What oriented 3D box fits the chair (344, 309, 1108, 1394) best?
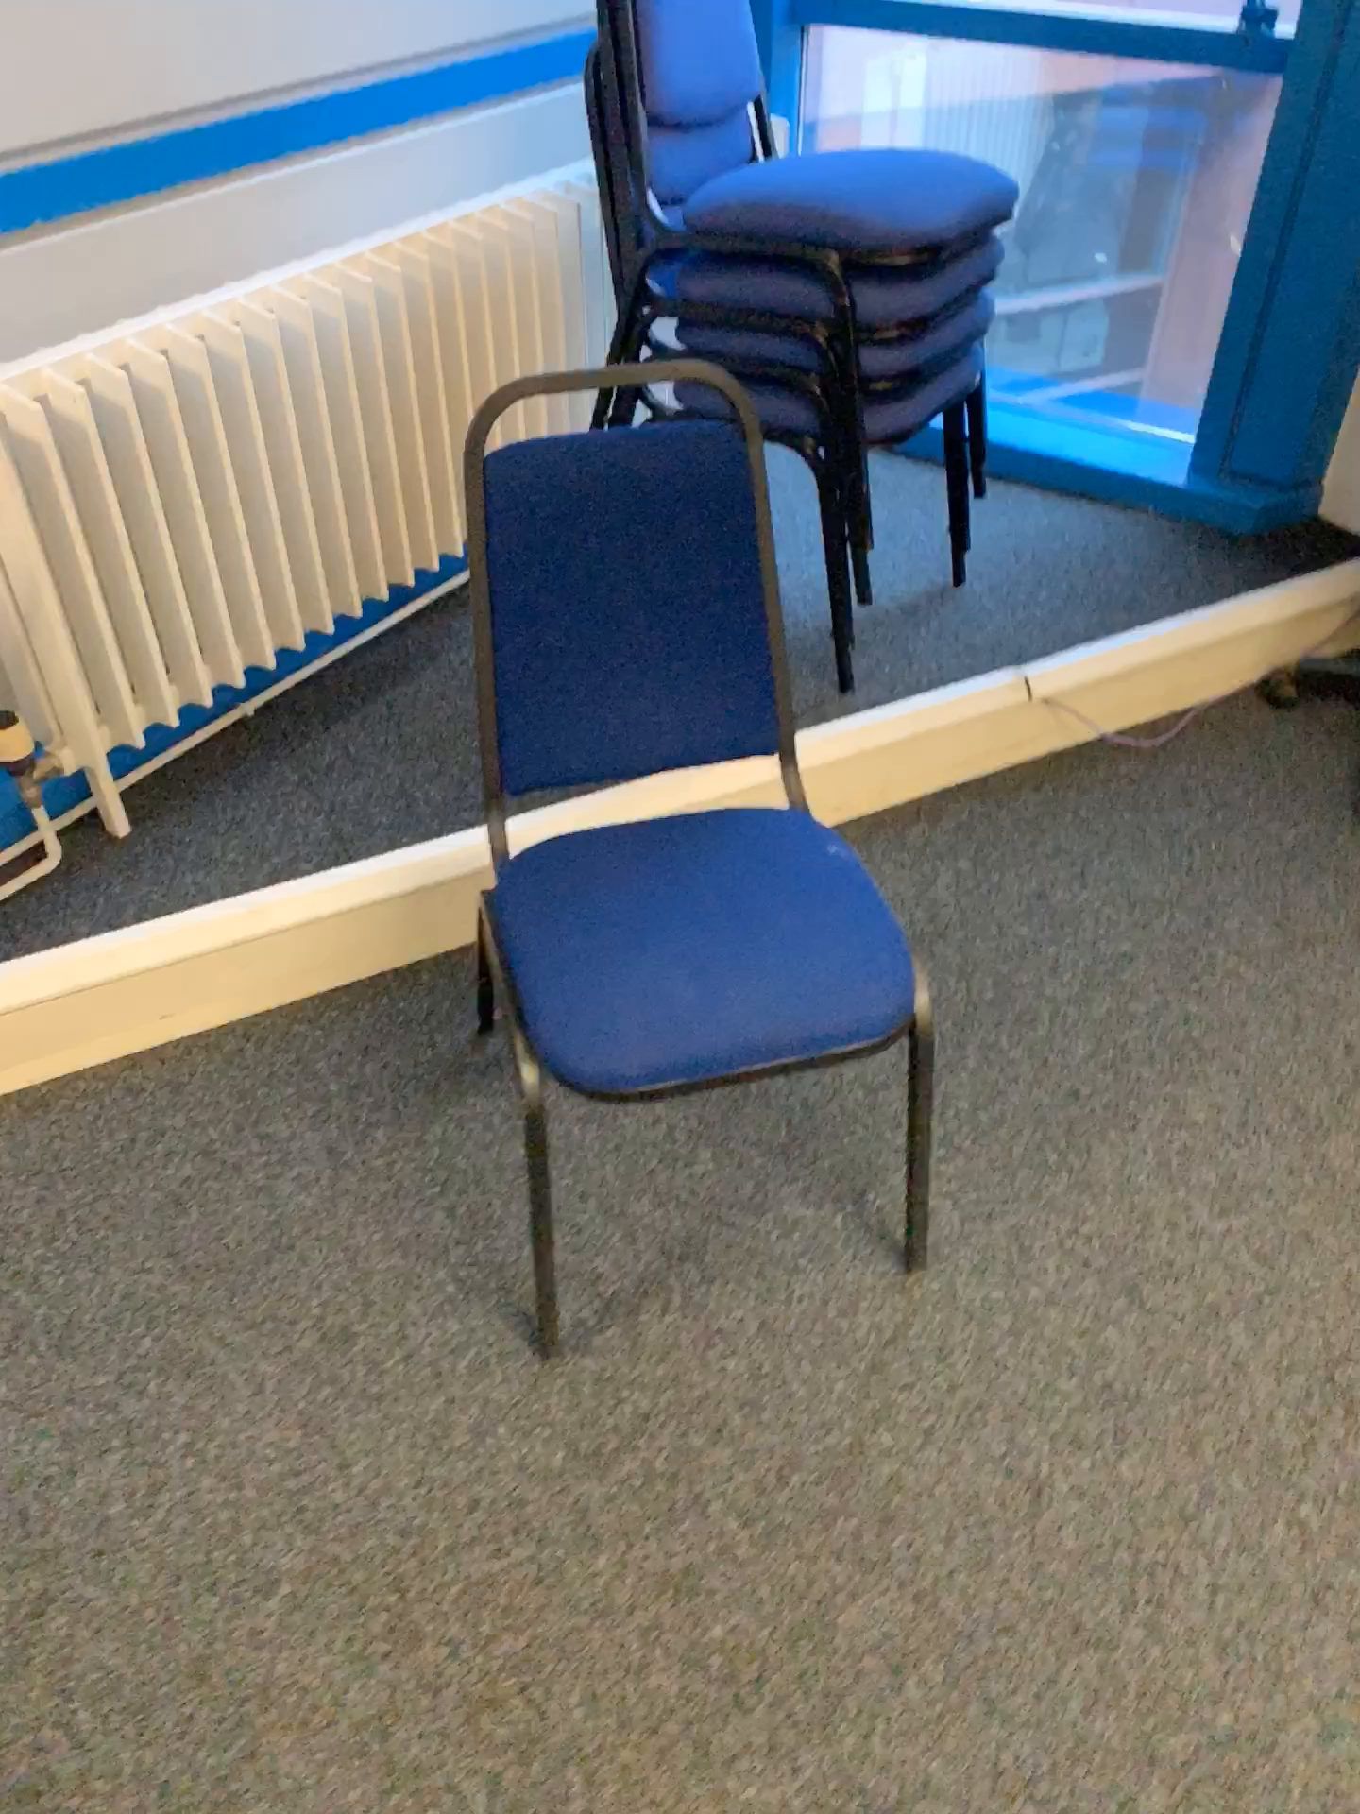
[{"bbox_3d":[-0.008,-0.051,1.388,0.472,0.843,0.579,-10,41,-11],"label":"chair"}]
